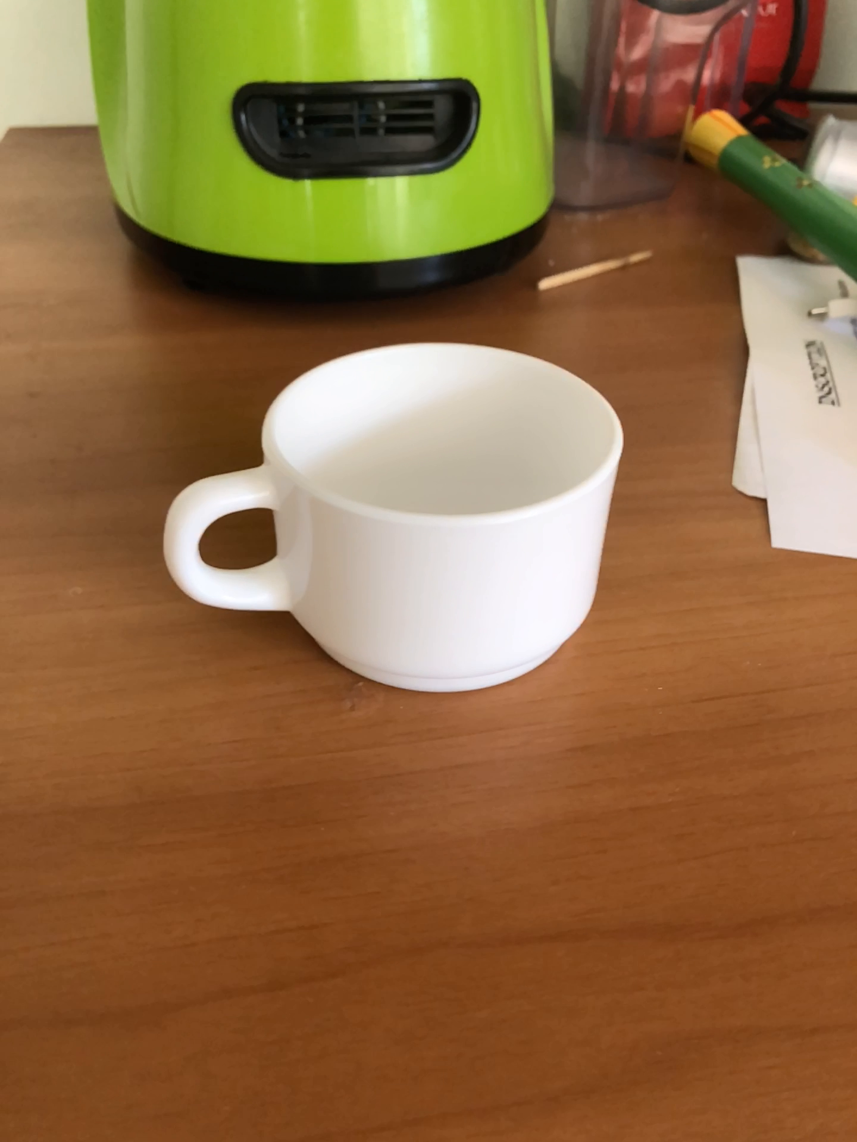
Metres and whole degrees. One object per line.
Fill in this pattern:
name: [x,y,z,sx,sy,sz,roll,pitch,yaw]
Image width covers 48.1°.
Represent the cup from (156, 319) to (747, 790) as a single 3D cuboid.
cup: [-0.001,-0.011,0.212,0.100,0.050,0.080,-11,40,-15]
